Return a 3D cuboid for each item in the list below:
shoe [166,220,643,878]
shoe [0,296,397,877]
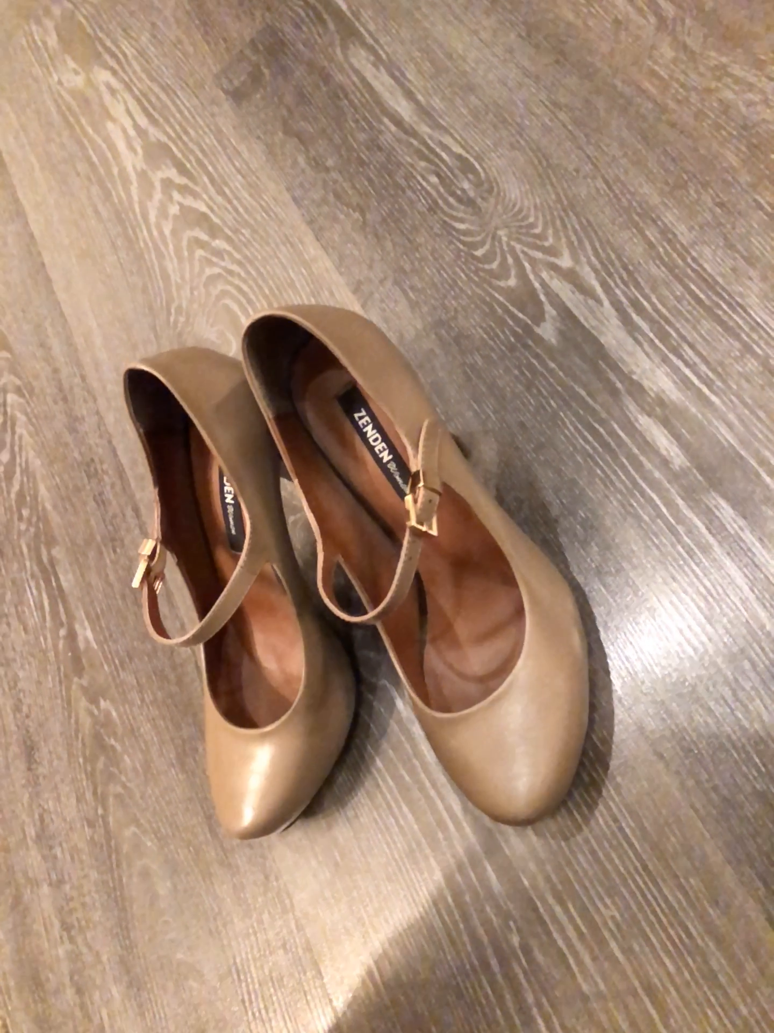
[{"bbox_3d":[0.009,0.022,0.355,0.090,0.159,0.211,-24,63,21],"label":"shoe"},{"bbox_3d":[-0.083,0.038,0.402,0.090,0.149,0.220,-1,73,29],"label":"shoe"}]
